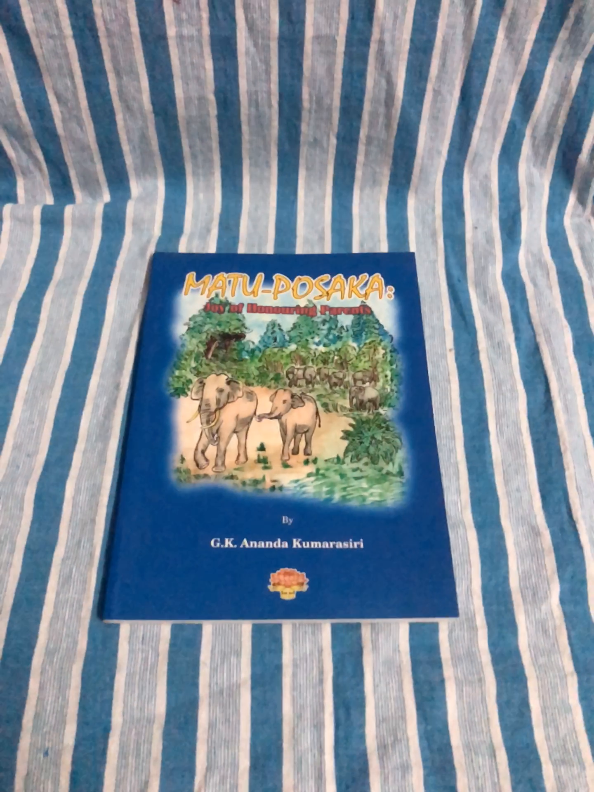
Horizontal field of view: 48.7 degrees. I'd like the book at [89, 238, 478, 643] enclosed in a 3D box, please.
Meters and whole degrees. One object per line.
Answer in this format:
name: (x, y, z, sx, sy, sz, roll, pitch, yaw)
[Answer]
book: (-0.005, 0.009, 0.353, 0.170, 0.020, 0.231, 0, 60, 1)
